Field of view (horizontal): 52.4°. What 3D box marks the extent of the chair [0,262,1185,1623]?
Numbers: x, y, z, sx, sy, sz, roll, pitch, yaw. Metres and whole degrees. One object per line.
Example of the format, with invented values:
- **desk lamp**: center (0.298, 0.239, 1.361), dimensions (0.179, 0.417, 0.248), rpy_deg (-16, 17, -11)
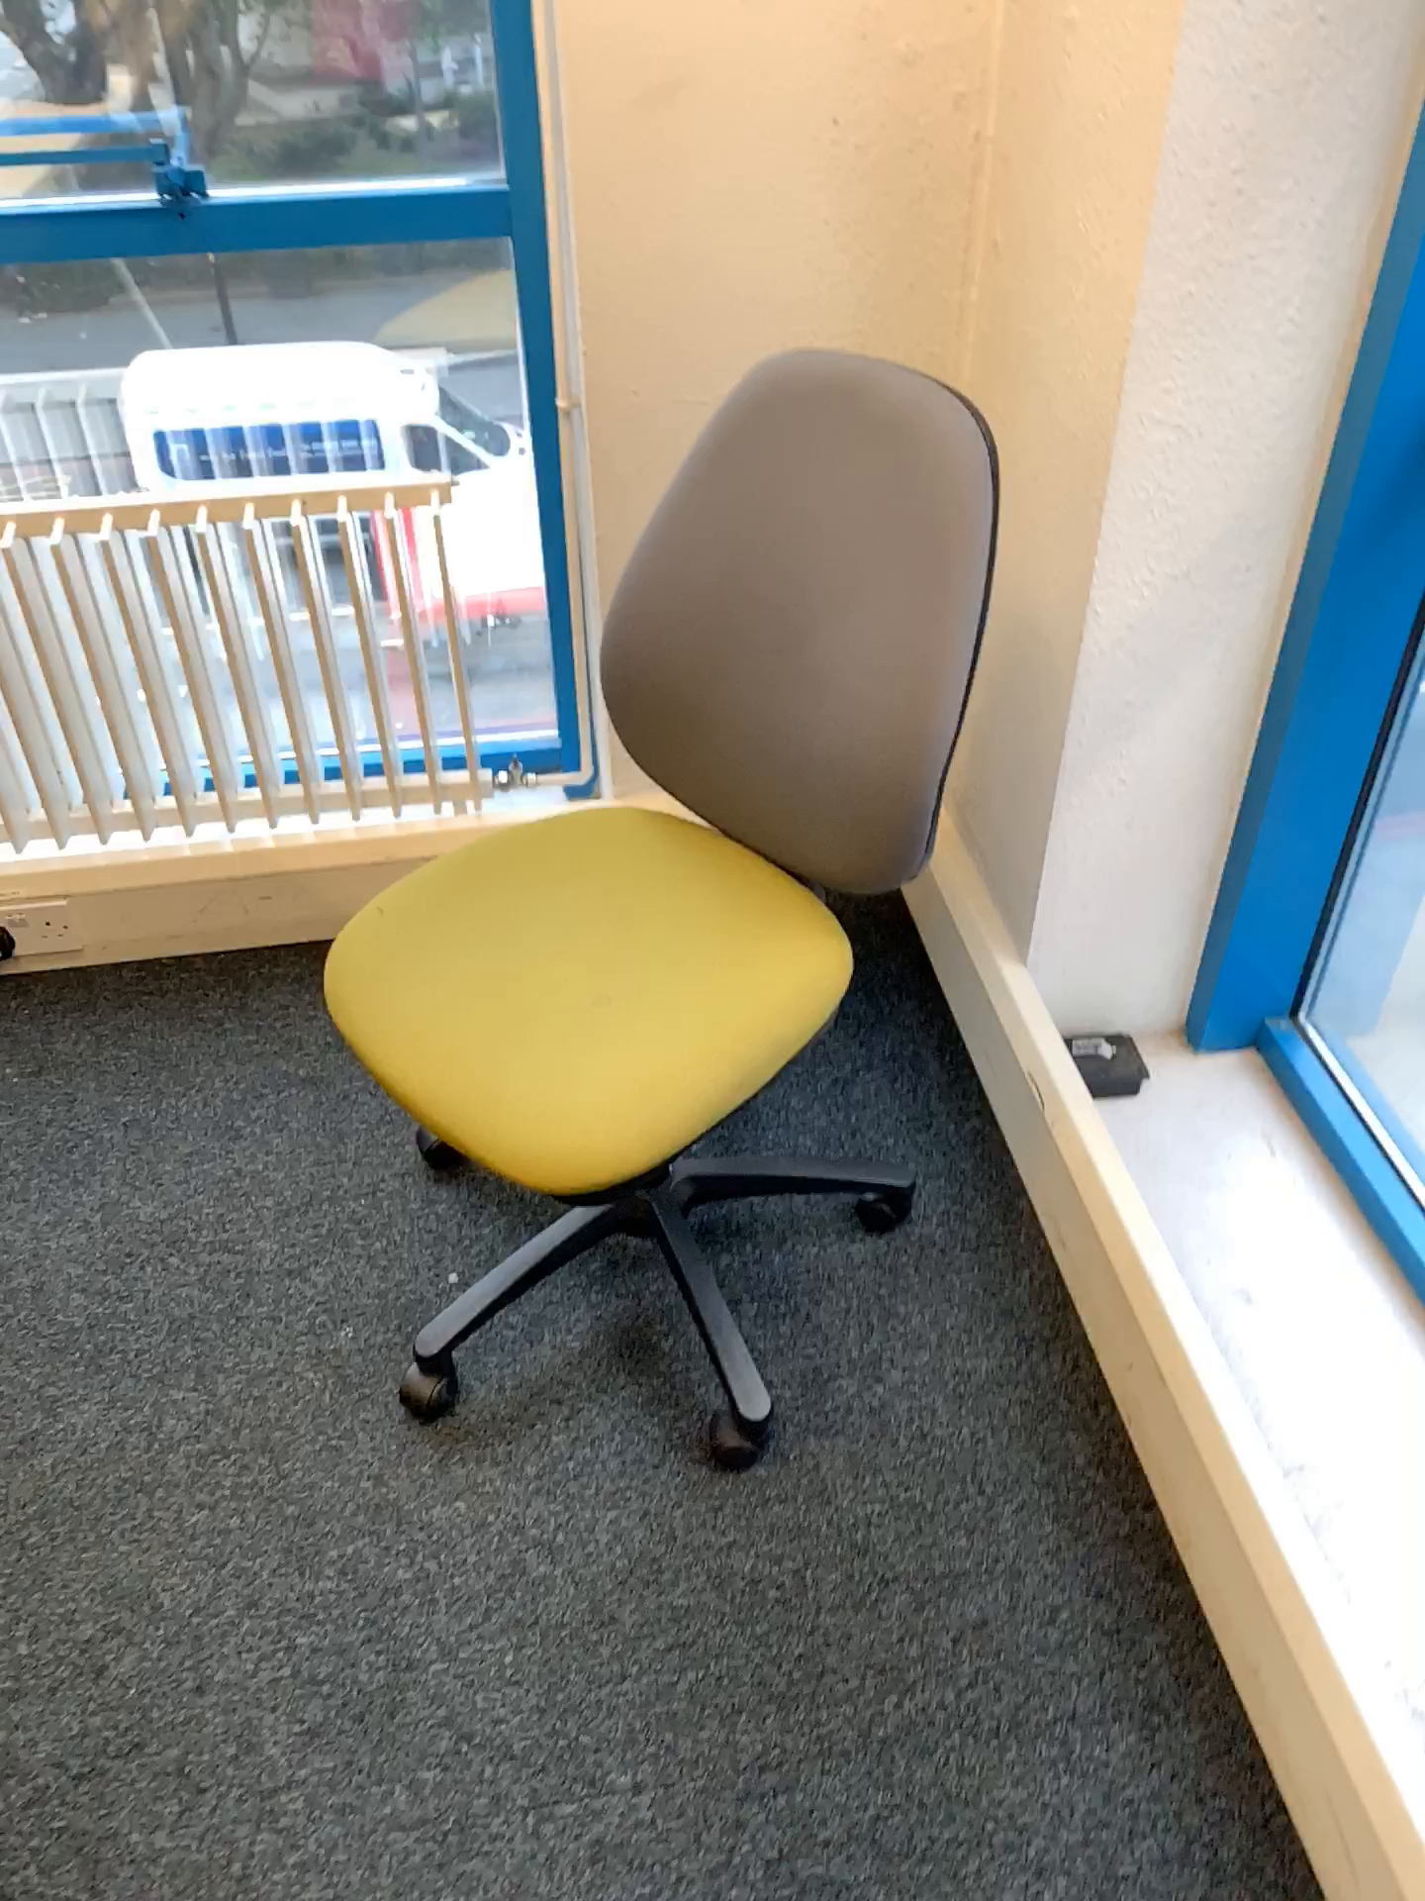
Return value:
- **chair**: center (-0.119, -0.056, 1.383), dimensions (0.696, 0.876, 0.680), rpy_deg (32, 49, 34)
